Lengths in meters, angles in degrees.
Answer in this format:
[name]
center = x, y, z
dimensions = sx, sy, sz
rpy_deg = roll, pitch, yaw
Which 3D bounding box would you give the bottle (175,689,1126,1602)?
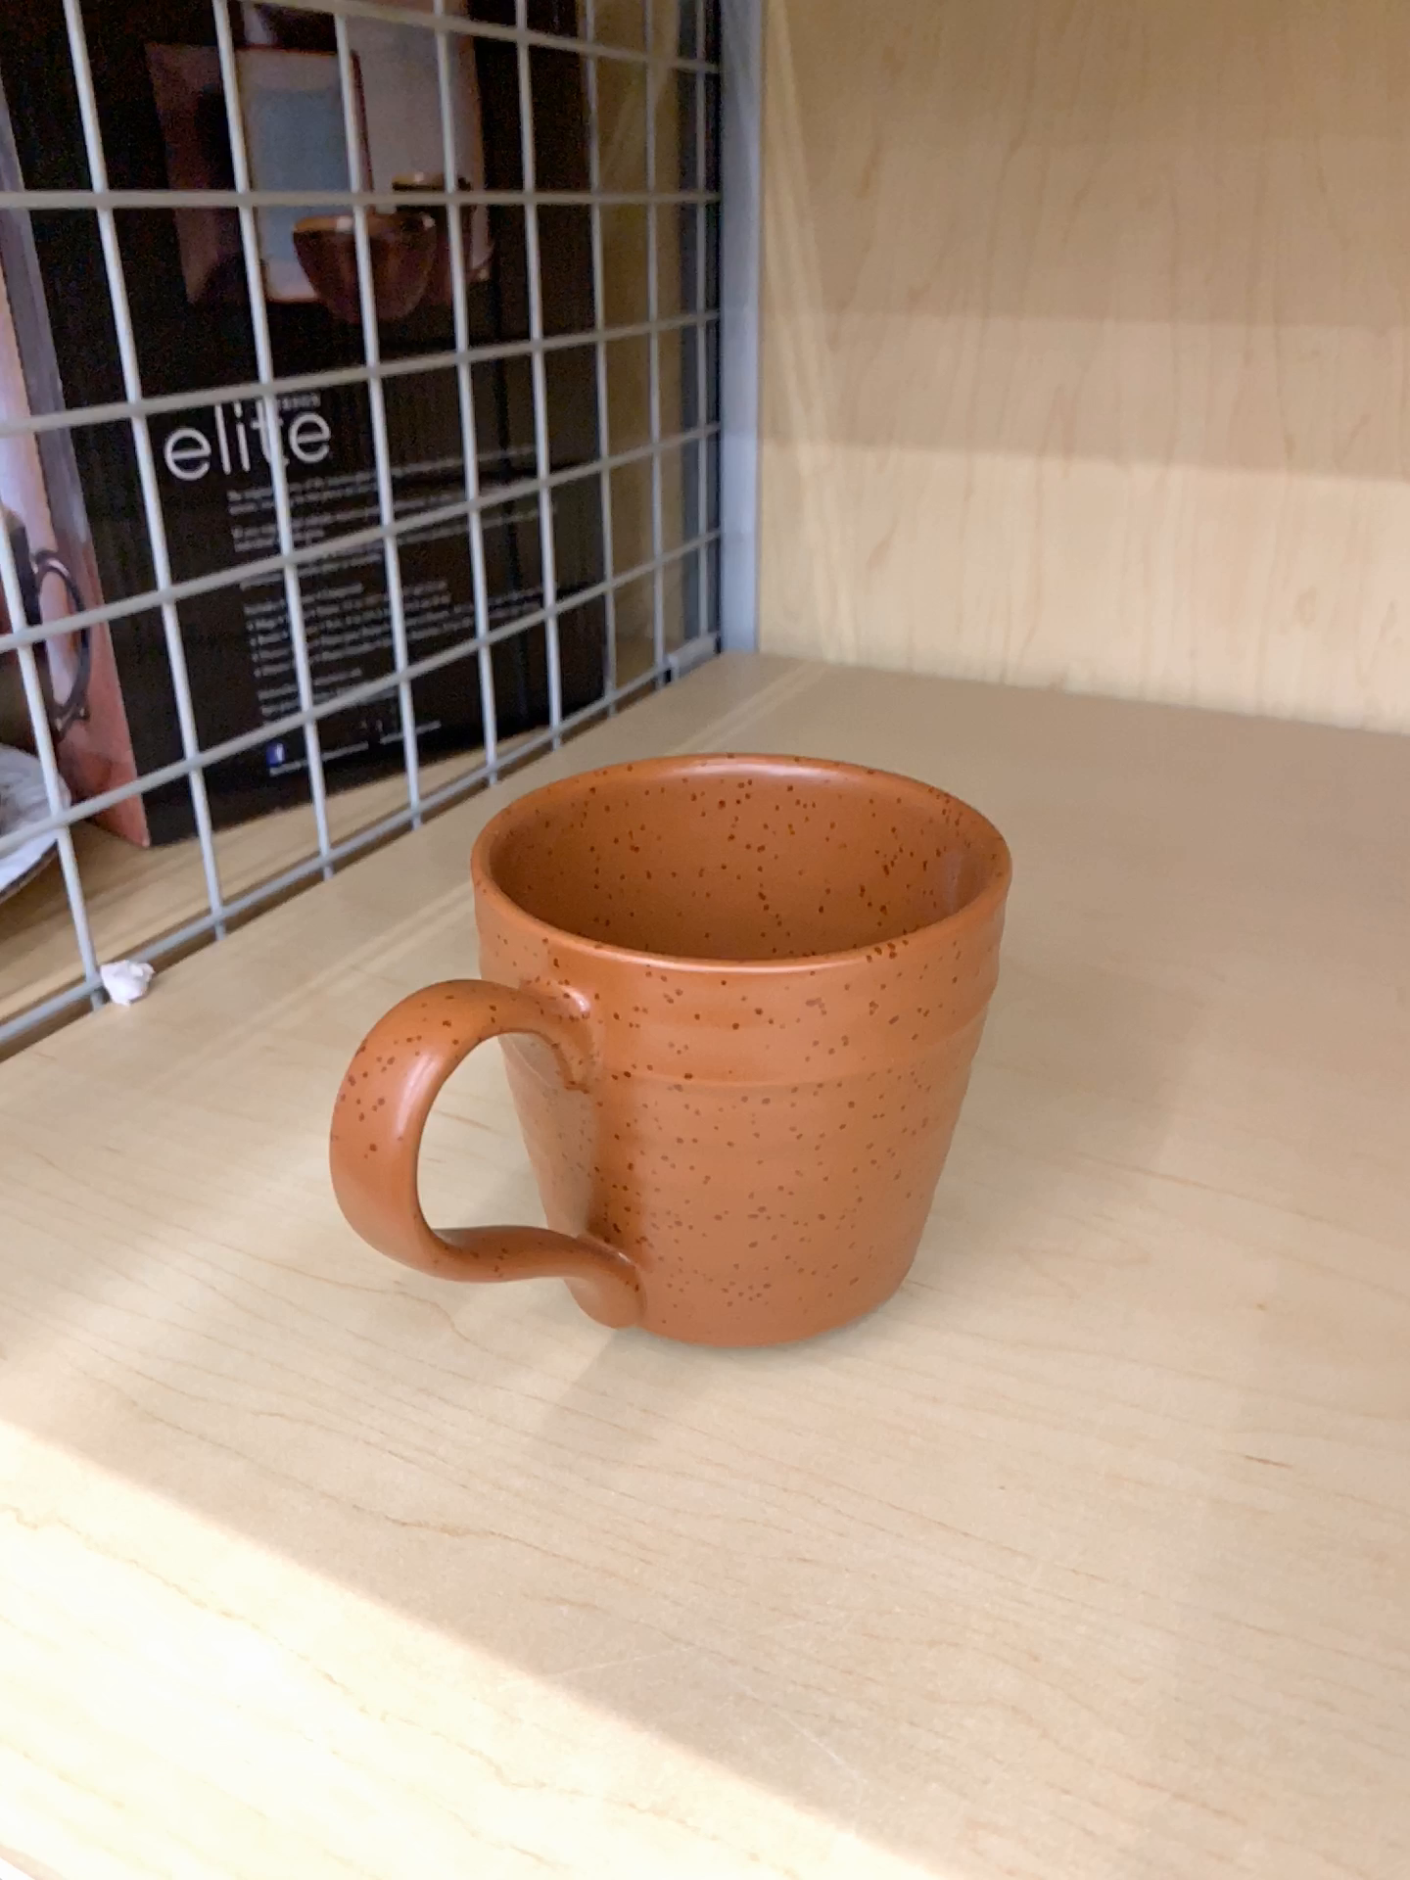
[bottle]
center = -0.003, 0.021, 0.278
dimensions = 0.100, 0.090, 0.140
rpy_deg = 20, 33, 35
